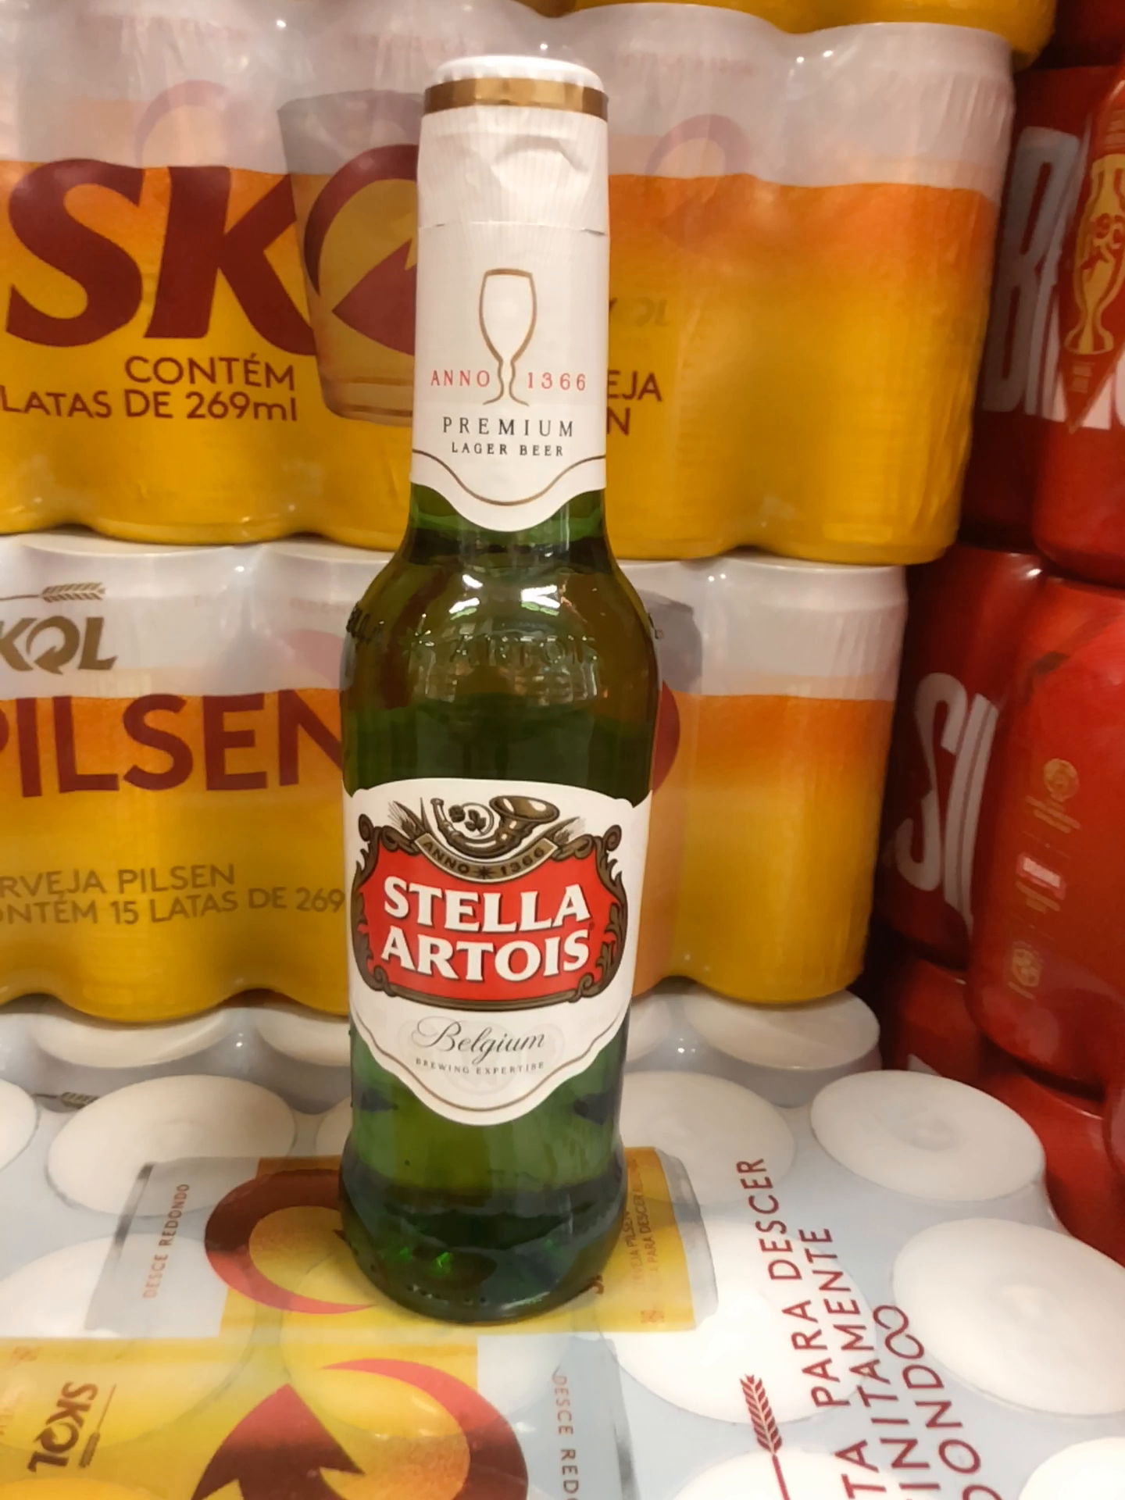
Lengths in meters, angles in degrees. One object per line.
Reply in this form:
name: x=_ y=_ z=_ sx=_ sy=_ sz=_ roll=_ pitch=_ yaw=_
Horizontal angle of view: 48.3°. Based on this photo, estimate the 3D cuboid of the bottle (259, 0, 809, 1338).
bottle: x=-0.010 y=-0.007 z=0.223 sx=0.070 sy=0.219 sz=0.060 roll=0 pitch=19 yaw=-6
